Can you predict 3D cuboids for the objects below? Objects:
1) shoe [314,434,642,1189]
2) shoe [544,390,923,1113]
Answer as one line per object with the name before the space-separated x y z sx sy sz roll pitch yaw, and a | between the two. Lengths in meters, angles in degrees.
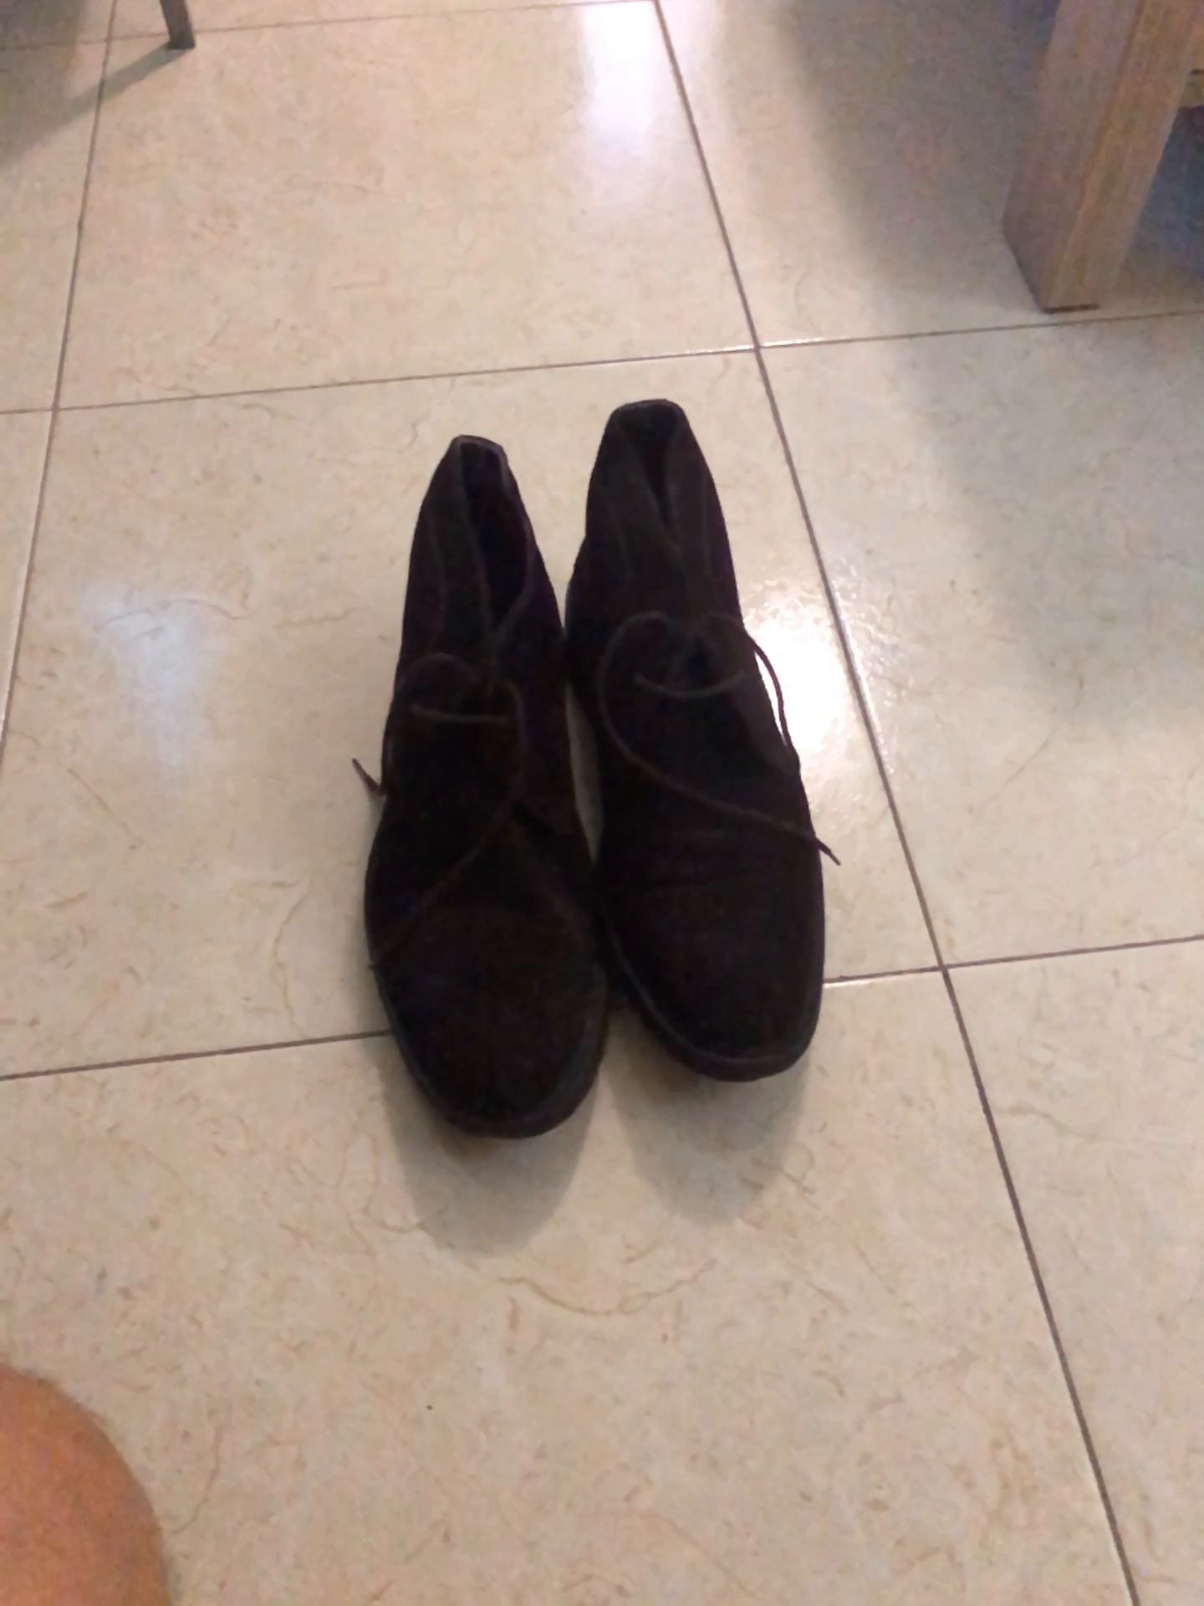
shoe | -0.058 -0.006 0.582 0.110 0.130 0.301 -5 56 -3
shoe | 0.044 -0.032 0.614 0.110 0.140 0.301 -5 56 -3
